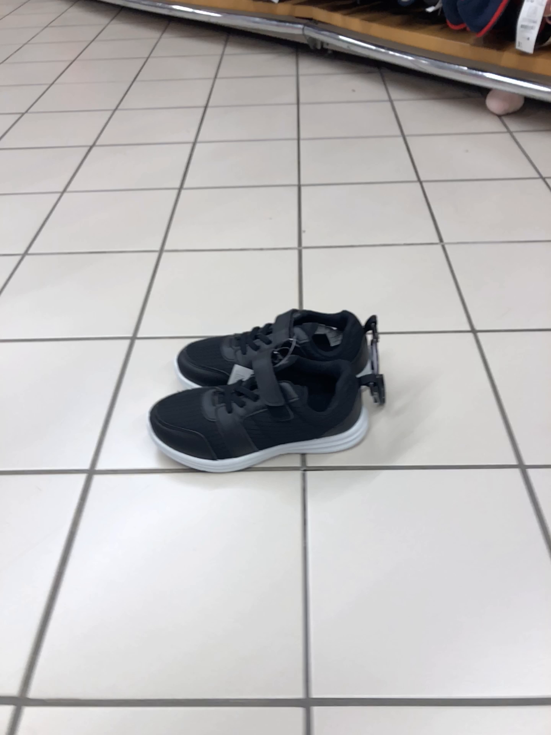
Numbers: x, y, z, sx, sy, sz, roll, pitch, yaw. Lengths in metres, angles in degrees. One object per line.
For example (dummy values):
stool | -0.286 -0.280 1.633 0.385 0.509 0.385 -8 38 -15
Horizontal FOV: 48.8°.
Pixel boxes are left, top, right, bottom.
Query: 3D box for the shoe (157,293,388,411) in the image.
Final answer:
shoe | -0.003 -0.018 0.639 0.222 0.064 0.098 -3 41 0

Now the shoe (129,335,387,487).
shoe | -0.019 0.038 0.575 0.222 0.064 0.098 -8 41 -5
